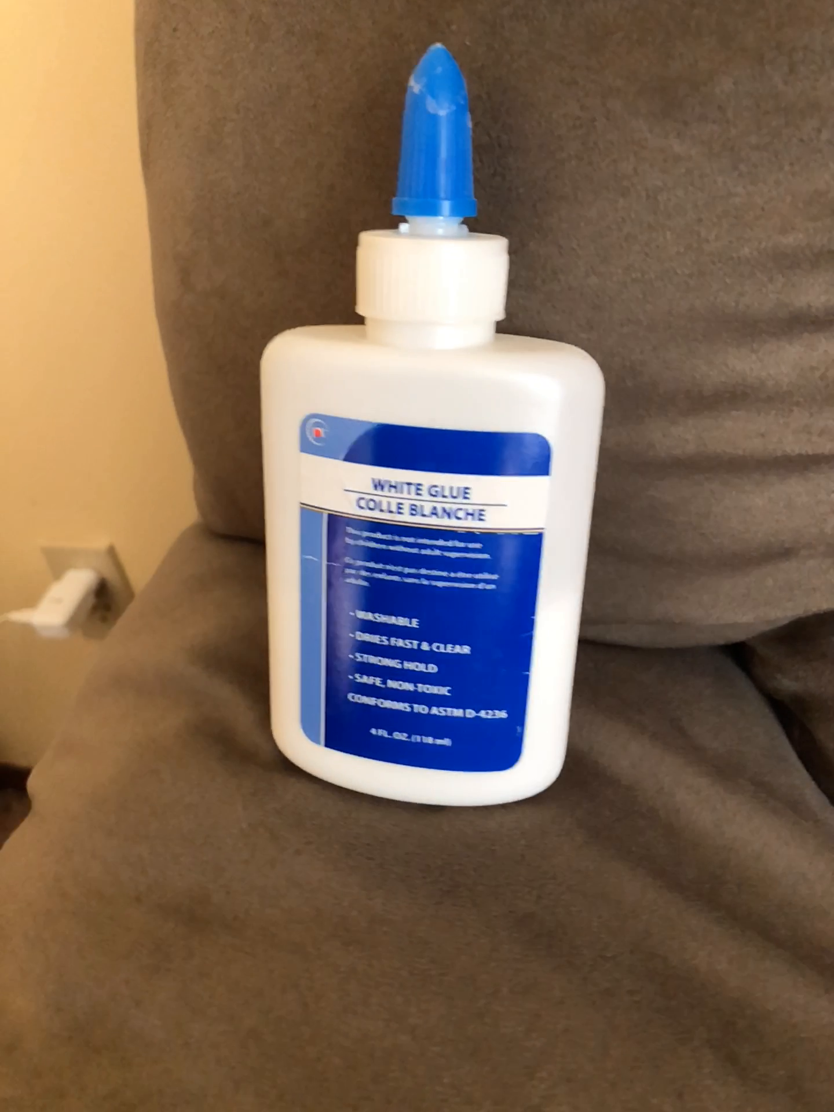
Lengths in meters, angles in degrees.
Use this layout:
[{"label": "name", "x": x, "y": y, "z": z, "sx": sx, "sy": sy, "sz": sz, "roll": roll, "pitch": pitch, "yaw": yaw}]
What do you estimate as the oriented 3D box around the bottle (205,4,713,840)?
[{"label": "bottle", "x": 0.005, "y": -0.021, "z": 0.169, "sx": 0.070, "sy": 0.130, "sz": 0.040, "roll": 7, "pitch": 21, "yaw": 10}]
